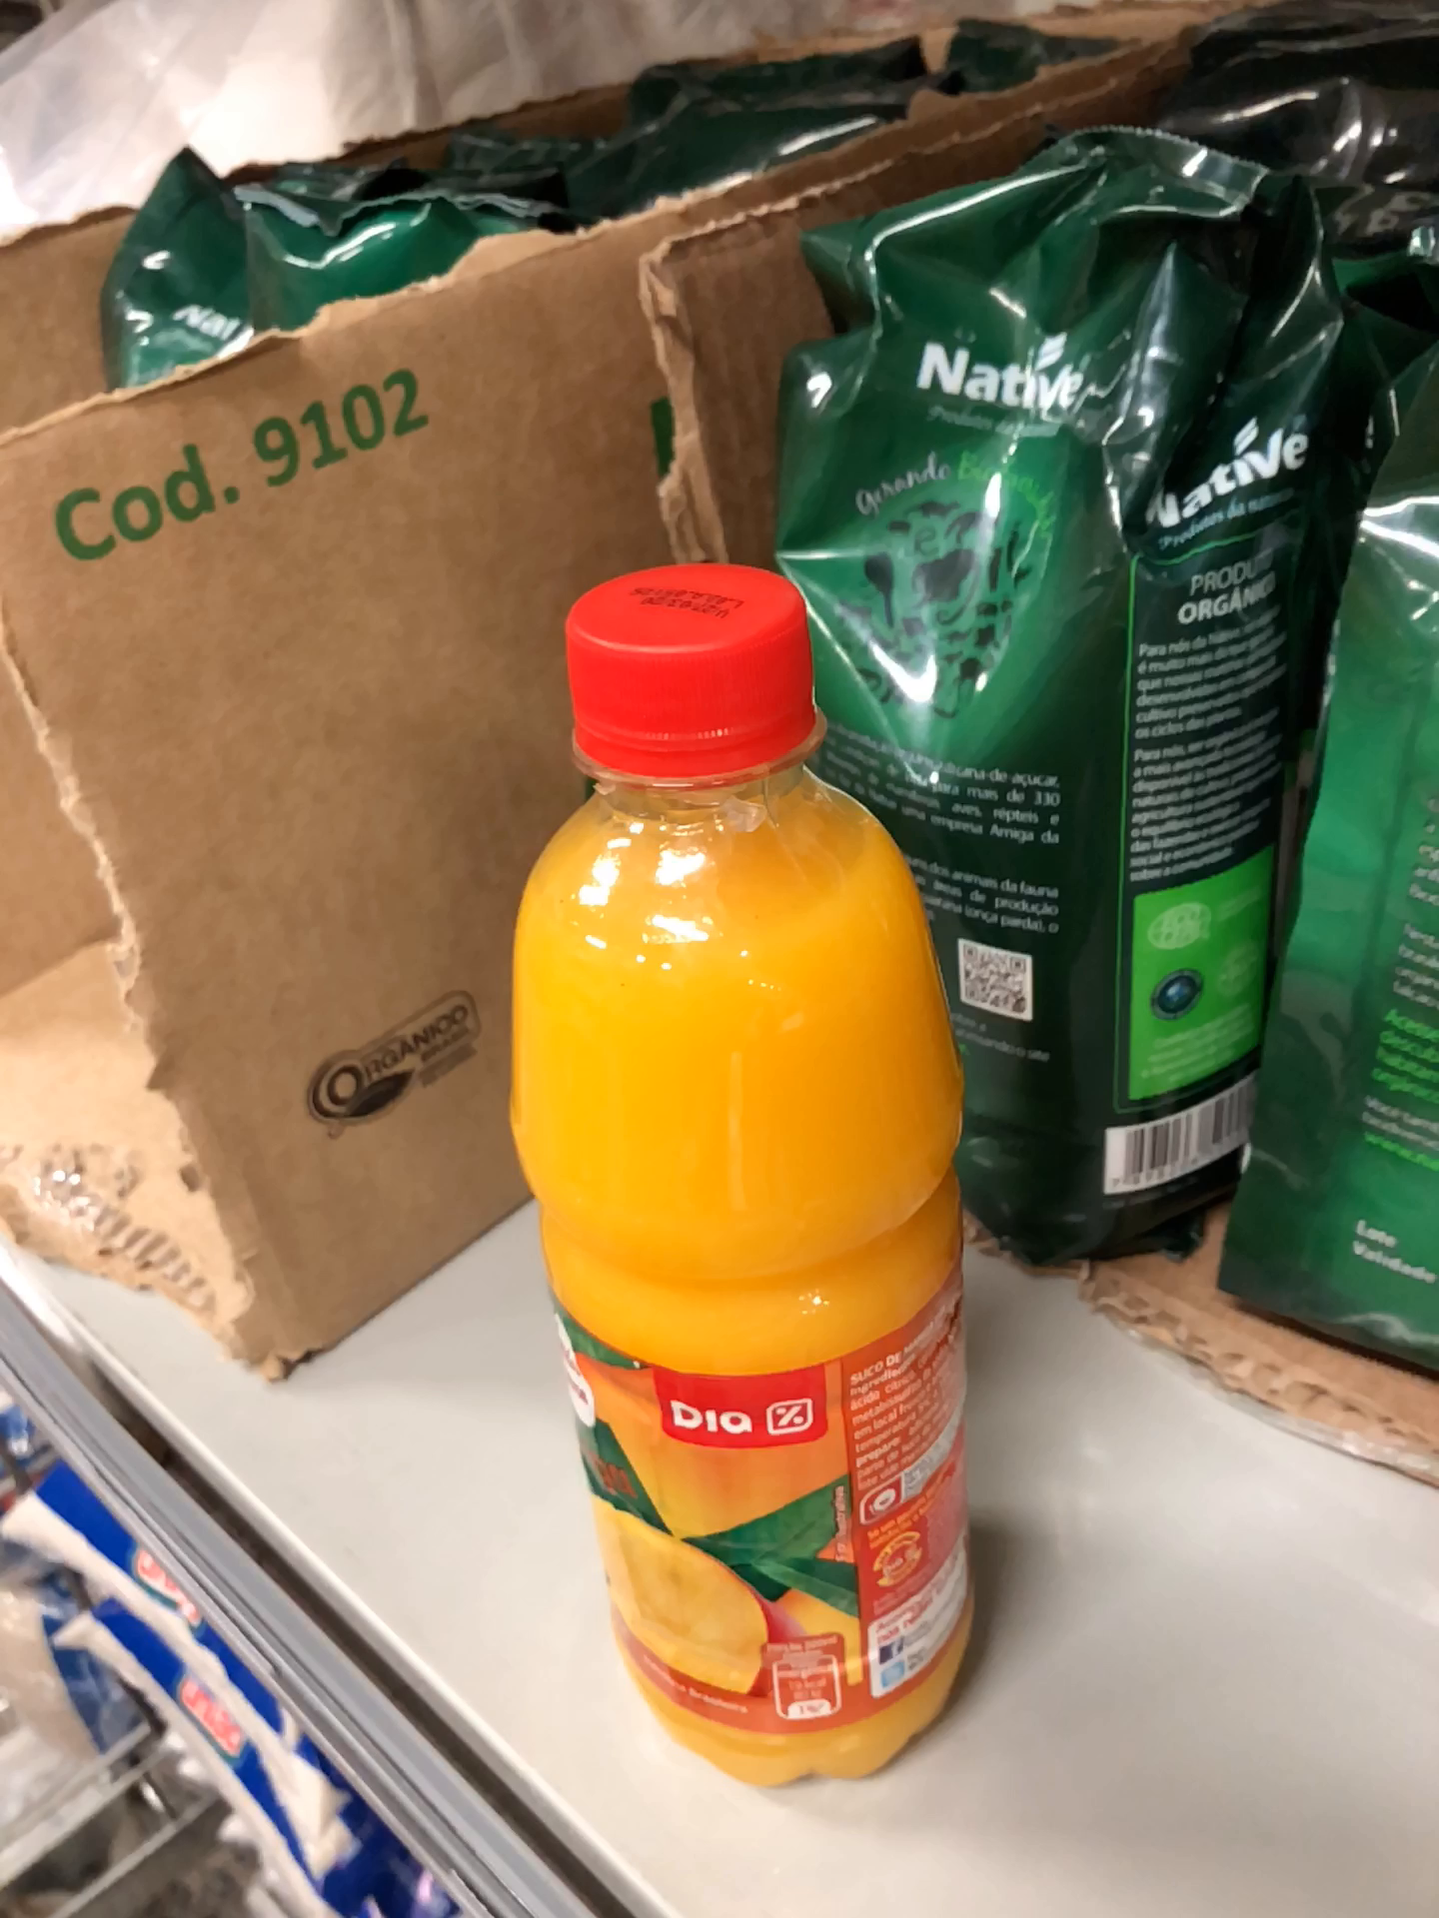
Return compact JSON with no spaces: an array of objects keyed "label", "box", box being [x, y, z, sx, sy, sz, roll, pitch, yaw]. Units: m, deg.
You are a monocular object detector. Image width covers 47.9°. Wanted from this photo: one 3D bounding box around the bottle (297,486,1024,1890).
[{"label":"bottle","box":[-0.002,0.042,0.245,0.060,0.198,0.070,-18,33,-15]}]
